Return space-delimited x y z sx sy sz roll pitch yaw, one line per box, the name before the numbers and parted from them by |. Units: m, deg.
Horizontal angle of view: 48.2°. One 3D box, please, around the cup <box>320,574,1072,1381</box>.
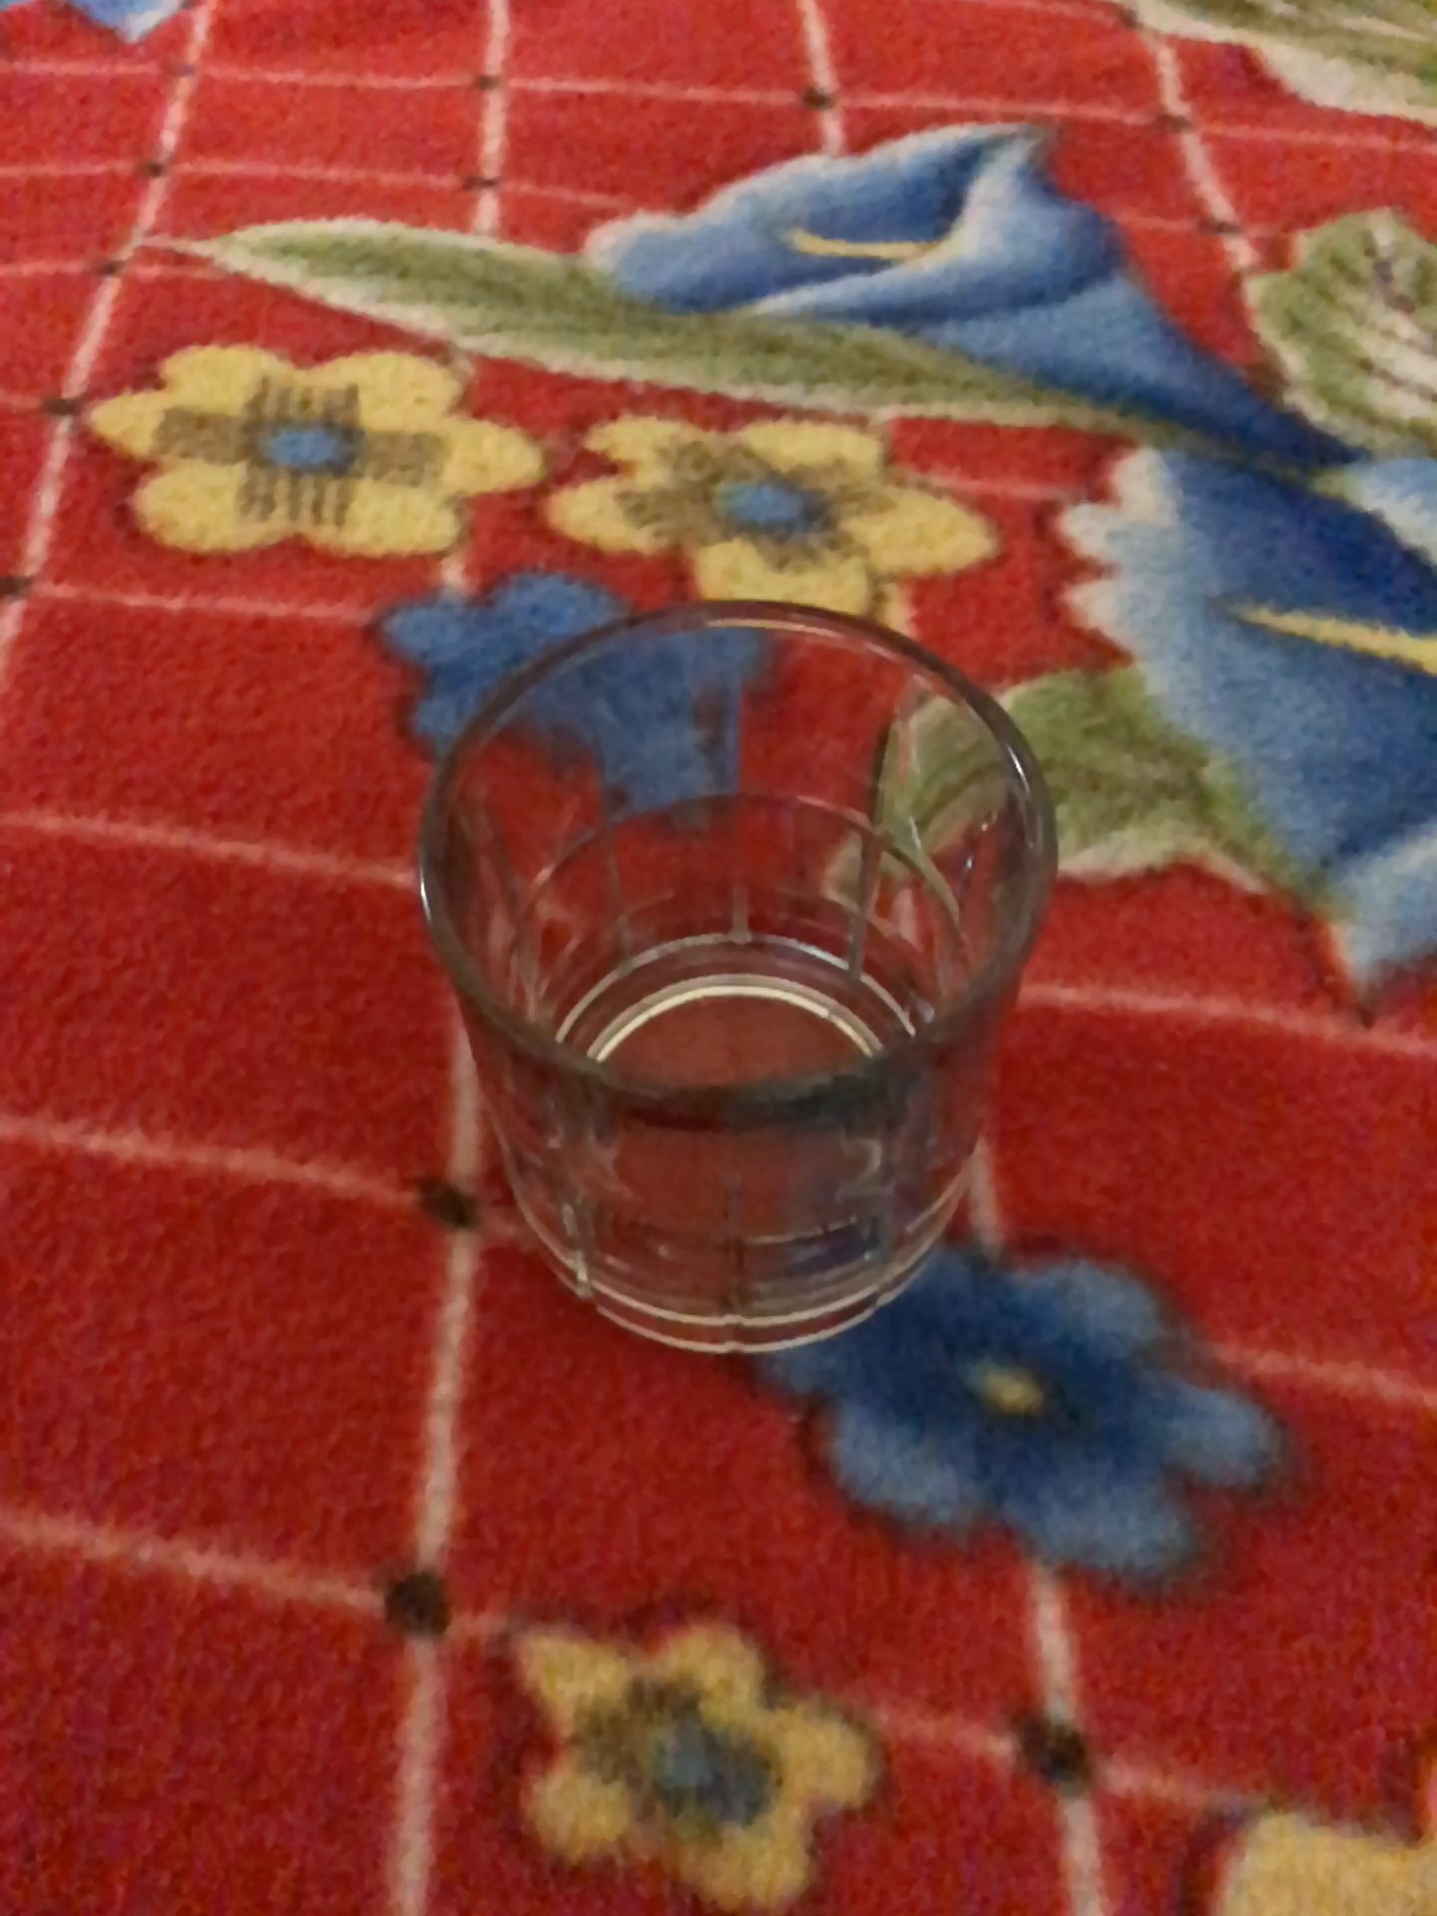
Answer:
cup | -0.003 0.006 0.238 0.083 0.088 0.084 0 56 0
